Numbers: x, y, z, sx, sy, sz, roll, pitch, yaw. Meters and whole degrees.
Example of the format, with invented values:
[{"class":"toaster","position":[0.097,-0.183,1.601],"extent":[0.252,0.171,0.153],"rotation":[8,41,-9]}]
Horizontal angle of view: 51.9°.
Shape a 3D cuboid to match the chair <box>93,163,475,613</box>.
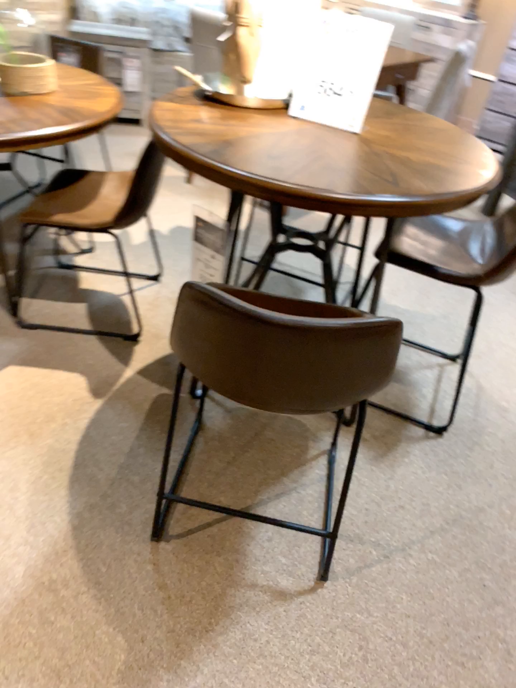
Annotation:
[{"class":"chair","position":[0.037,0.107,1.294],"extent":[0.600,0.806,0.583],"rotation":[12,38,4]}]
